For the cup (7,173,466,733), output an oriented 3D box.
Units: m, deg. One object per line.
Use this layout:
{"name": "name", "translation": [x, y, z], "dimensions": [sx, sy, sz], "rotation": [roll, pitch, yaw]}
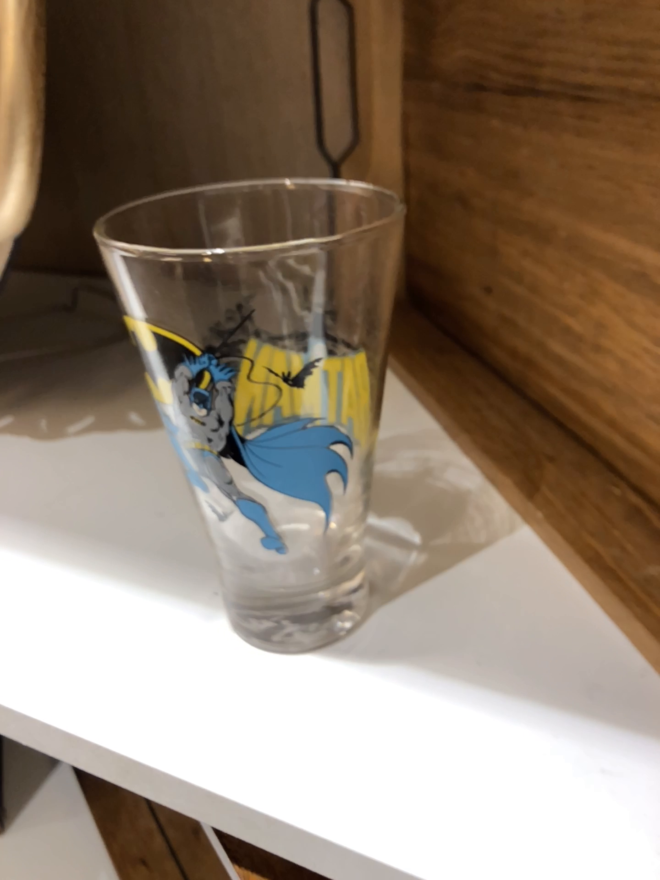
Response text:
{"name": "cup", "translation": [-0.019, -0.004, 0.226], "dimensions": [0.090, 0.129, 0.080], "rotation": [15, 35, 32]}
